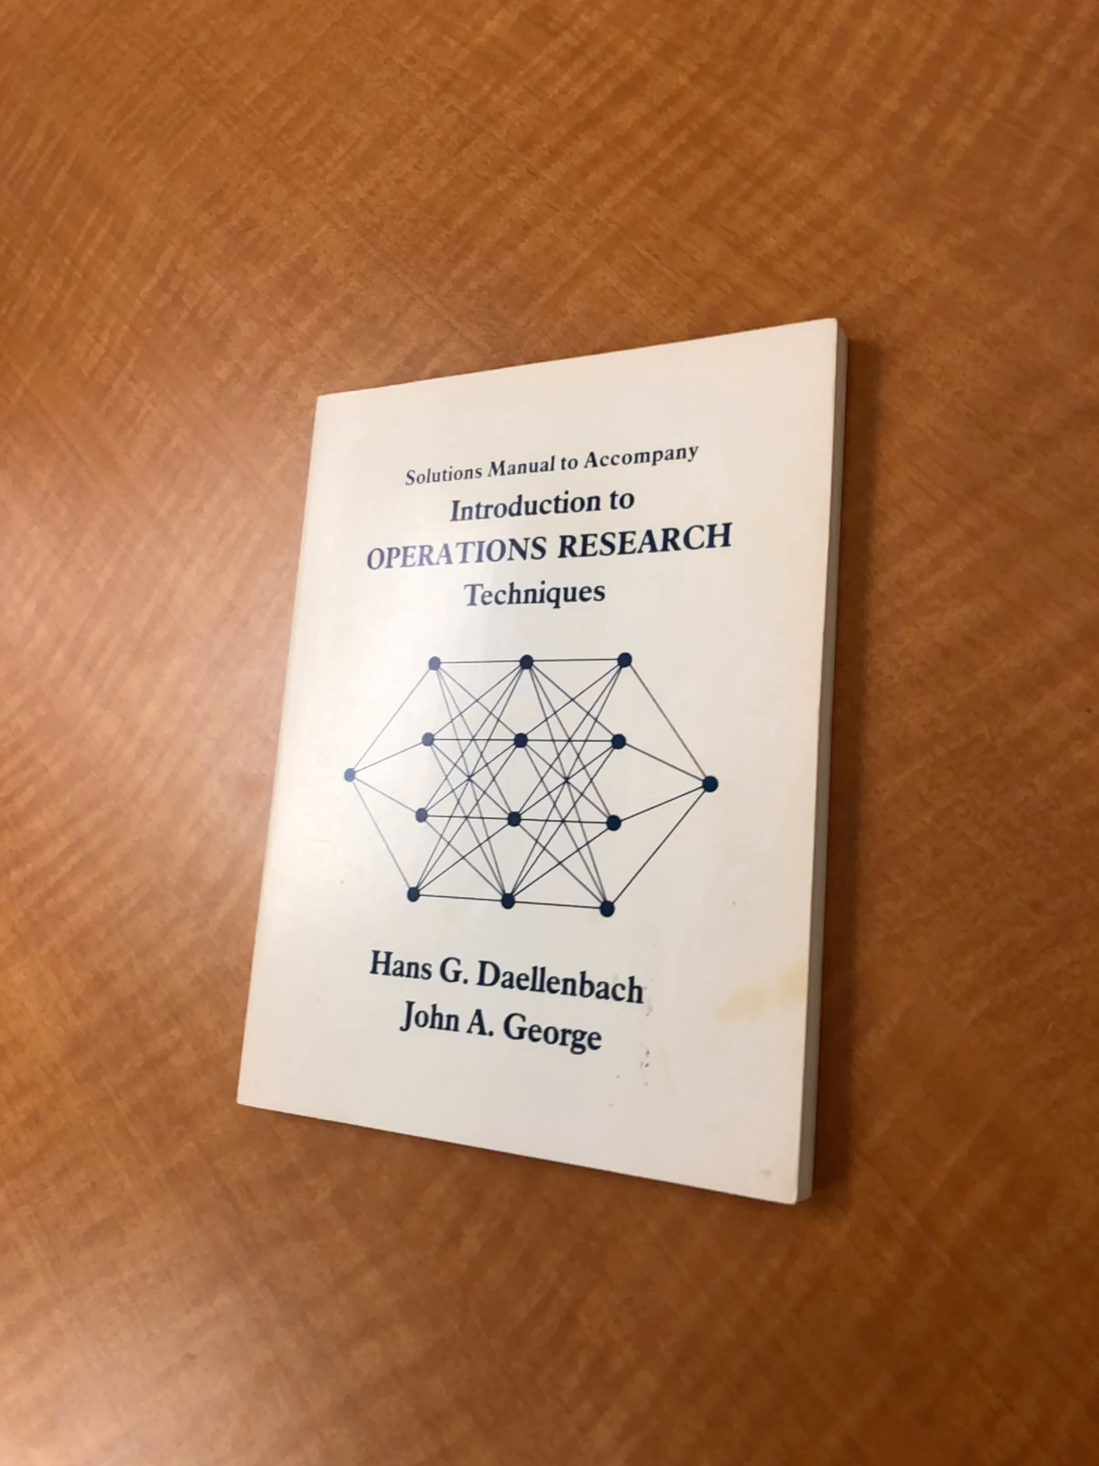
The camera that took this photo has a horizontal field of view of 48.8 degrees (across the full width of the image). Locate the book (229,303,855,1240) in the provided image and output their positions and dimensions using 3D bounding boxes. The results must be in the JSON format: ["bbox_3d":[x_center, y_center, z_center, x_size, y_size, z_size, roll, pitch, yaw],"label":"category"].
[{"bbox_3d":[-0.004,0.004,0.367,0.181,0.020,0.250,0,79,25],"label":"book"}]
